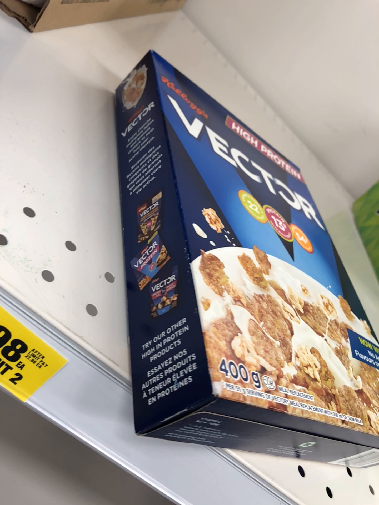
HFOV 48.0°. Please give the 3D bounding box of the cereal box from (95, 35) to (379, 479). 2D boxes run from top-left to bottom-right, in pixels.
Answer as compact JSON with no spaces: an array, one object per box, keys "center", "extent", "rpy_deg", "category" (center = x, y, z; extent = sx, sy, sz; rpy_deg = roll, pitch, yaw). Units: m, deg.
[{"center":[0.039,-0.007,0.306],"extent":[0.211,0.050,0.290],"rpy_deg":[27,35,-37],"category":"cereal box"}]
